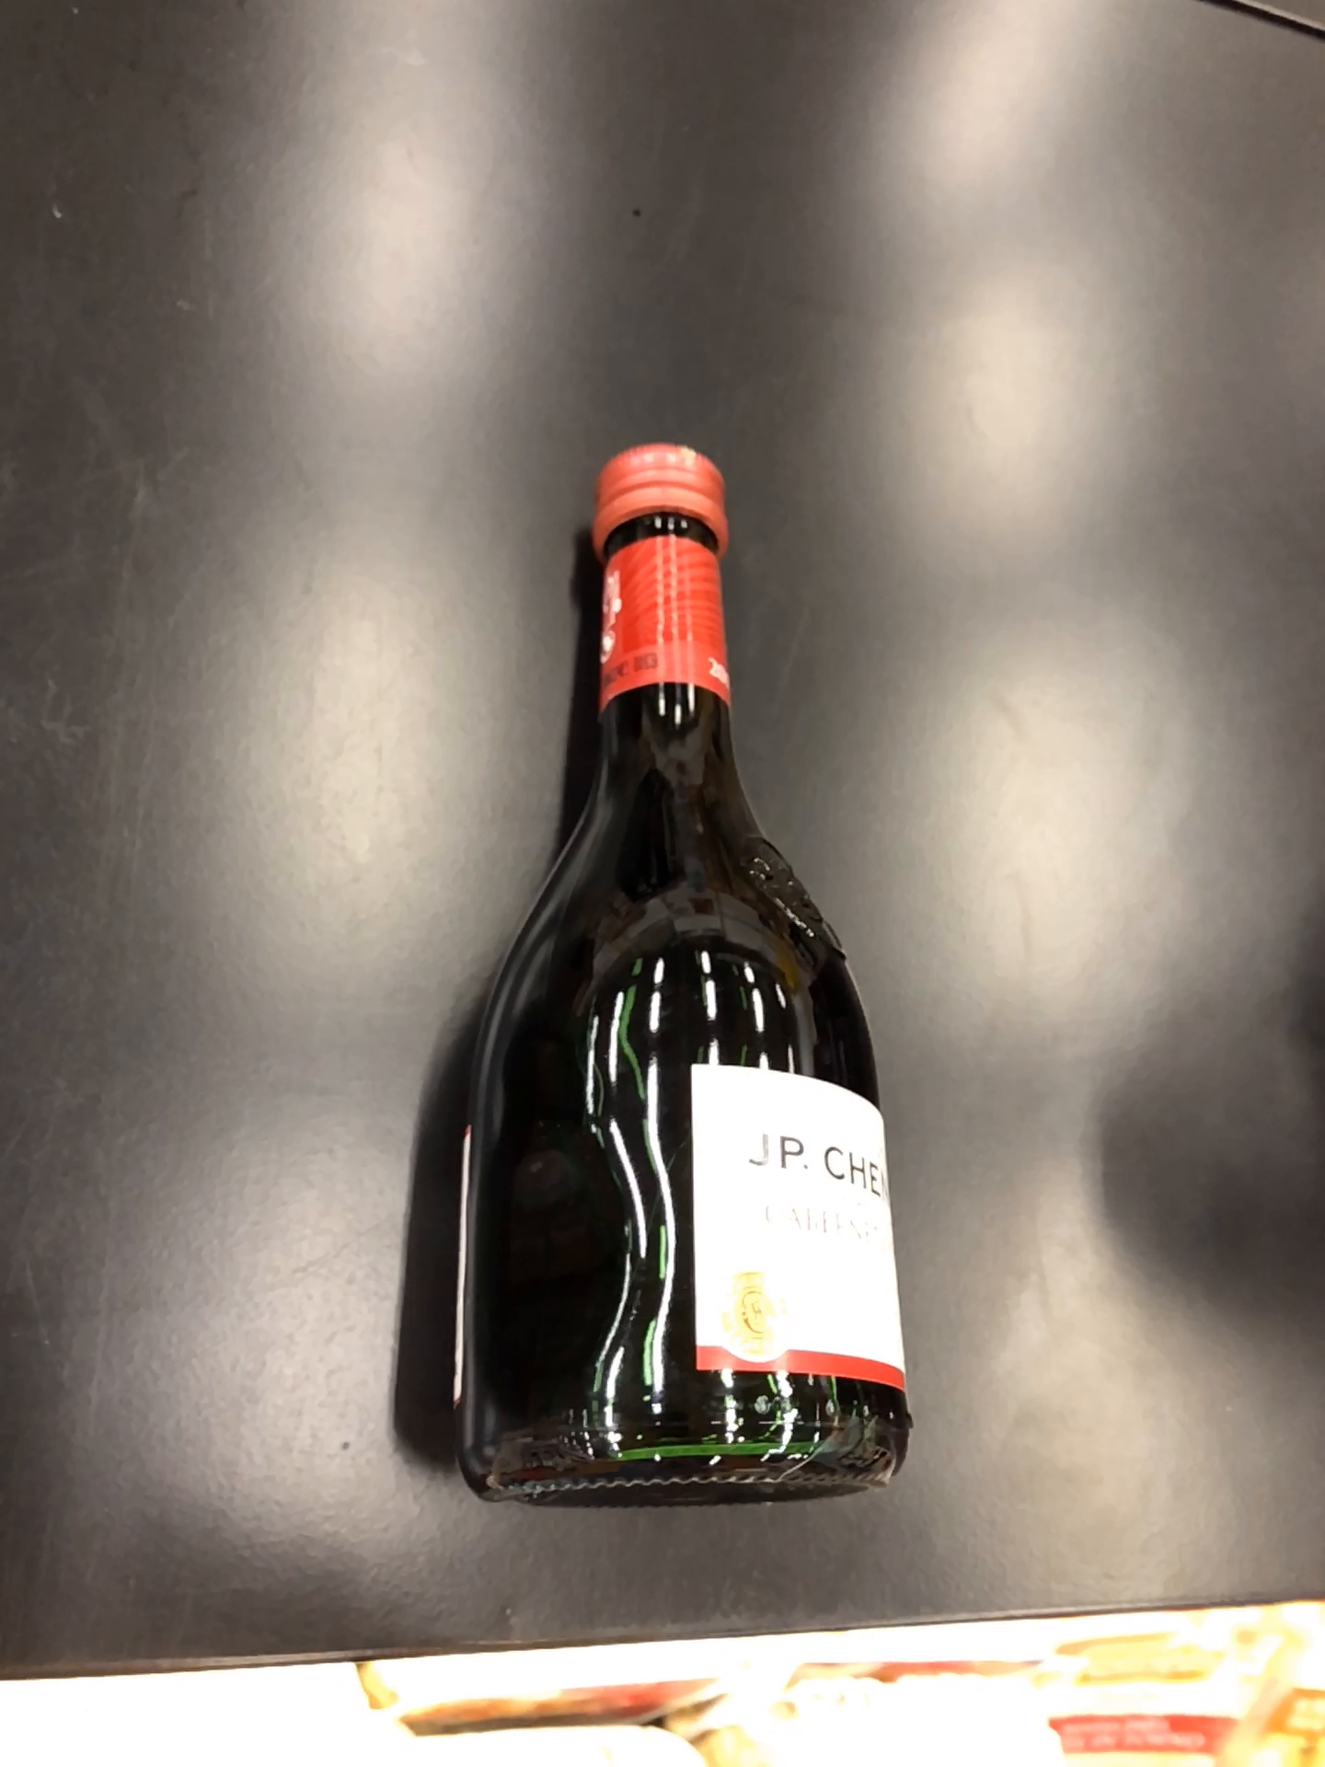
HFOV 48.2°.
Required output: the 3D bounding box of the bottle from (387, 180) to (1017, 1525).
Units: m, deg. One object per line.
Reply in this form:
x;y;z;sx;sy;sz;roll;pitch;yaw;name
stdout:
0.001;-0.007;0.239;0.070;0.060;0.200;6;67;-17;bottle
